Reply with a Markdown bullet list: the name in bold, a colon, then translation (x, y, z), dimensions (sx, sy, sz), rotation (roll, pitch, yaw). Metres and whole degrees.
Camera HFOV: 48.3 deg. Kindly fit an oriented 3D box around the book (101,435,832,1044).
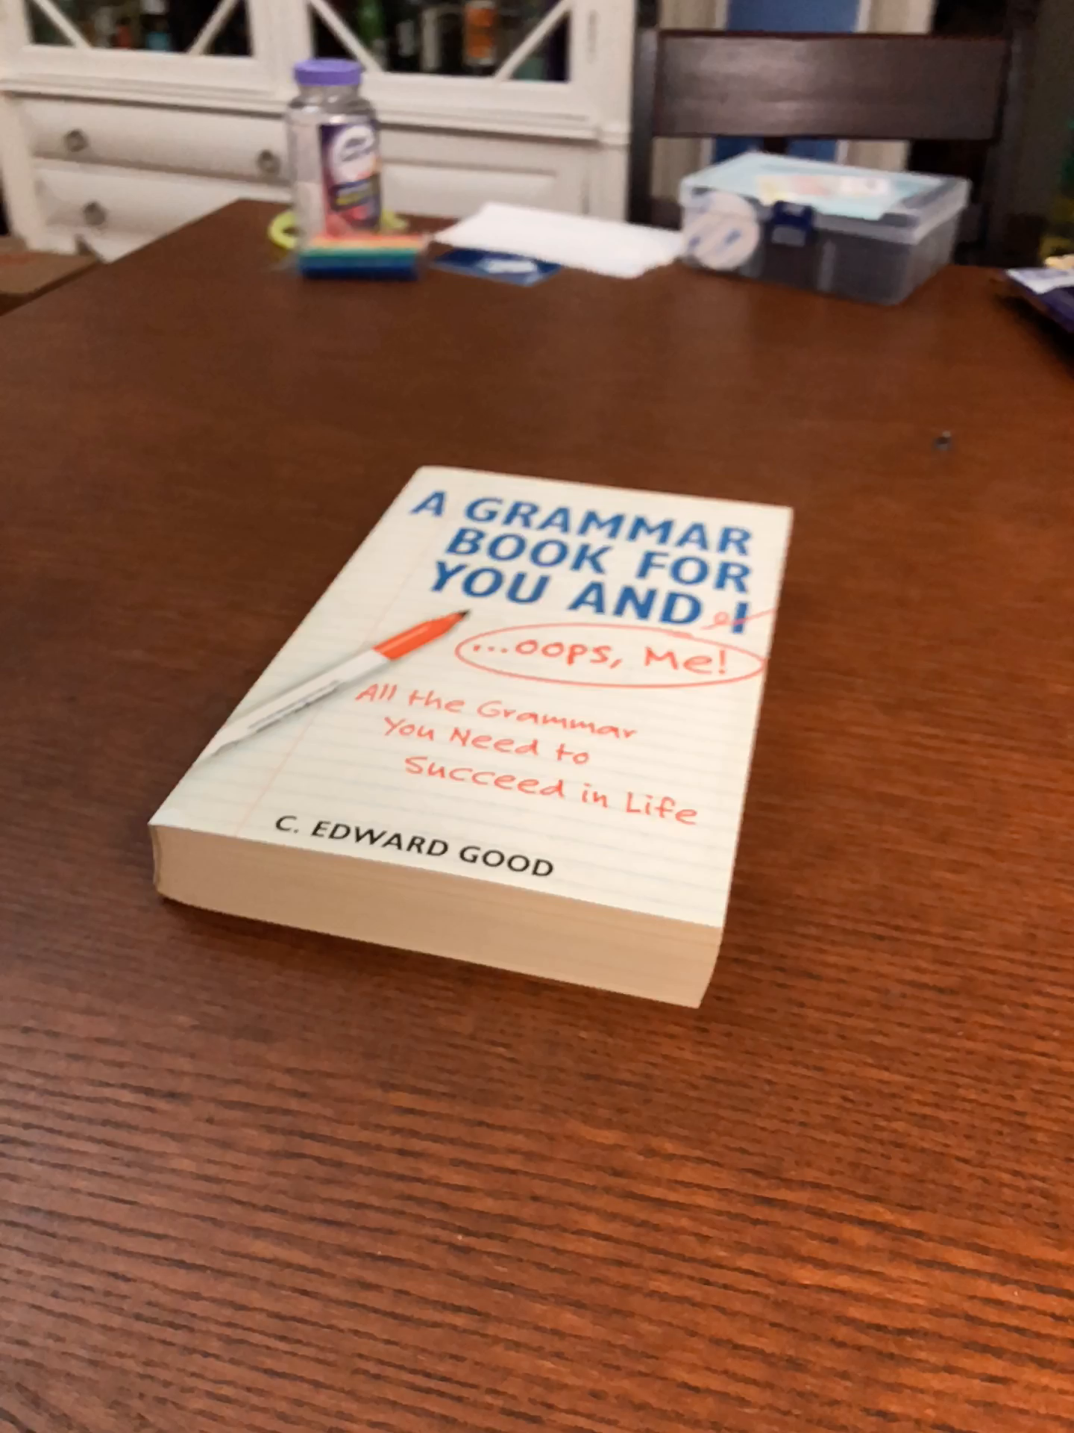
- **book**: translation (0.001, -0.018, 0.394), dimensions (0.170, 0.040, 0.241), rotation (9, 37, 11)
